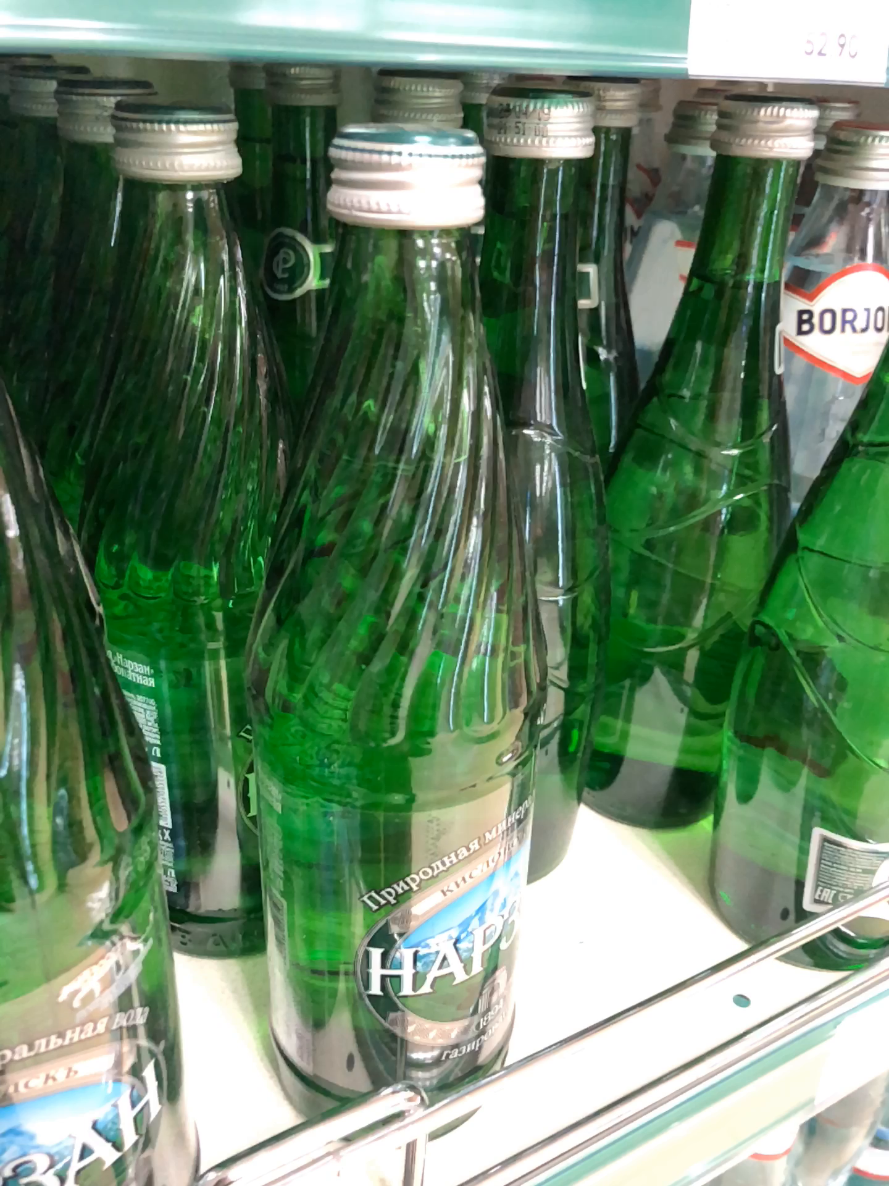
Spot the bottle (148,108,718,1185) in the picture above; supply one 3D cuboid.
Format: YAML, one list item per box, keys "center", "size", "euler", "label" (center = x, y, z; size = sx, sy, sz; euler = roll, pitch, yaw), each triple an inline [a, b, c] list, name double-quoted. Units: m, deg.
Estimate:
- center: [-0.007, 0.024, 0.229]
  size: [0.080, 0.240, 0.060]
  euler: [-15, 32, -29]
  label: "bottle"
